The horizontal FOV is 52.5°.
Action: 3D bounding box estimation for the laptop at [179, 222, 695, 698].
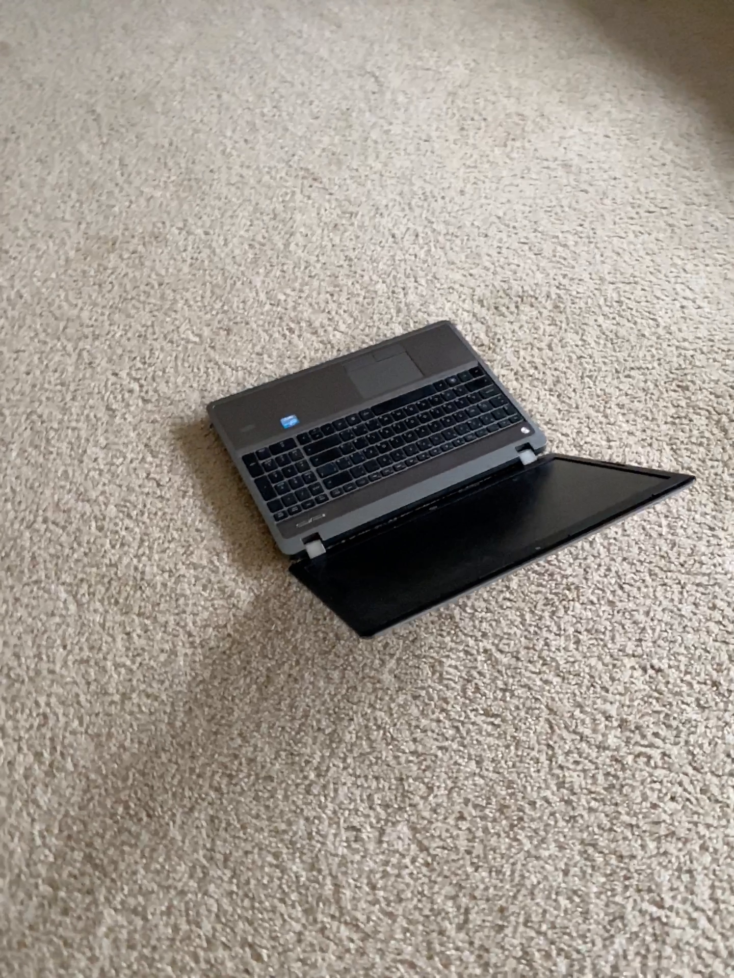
[{"bbox_3d":[0.055,-0.064,0.852,0.375,0.162,0.436,-23,60,-17],"label":"laptop"}]
